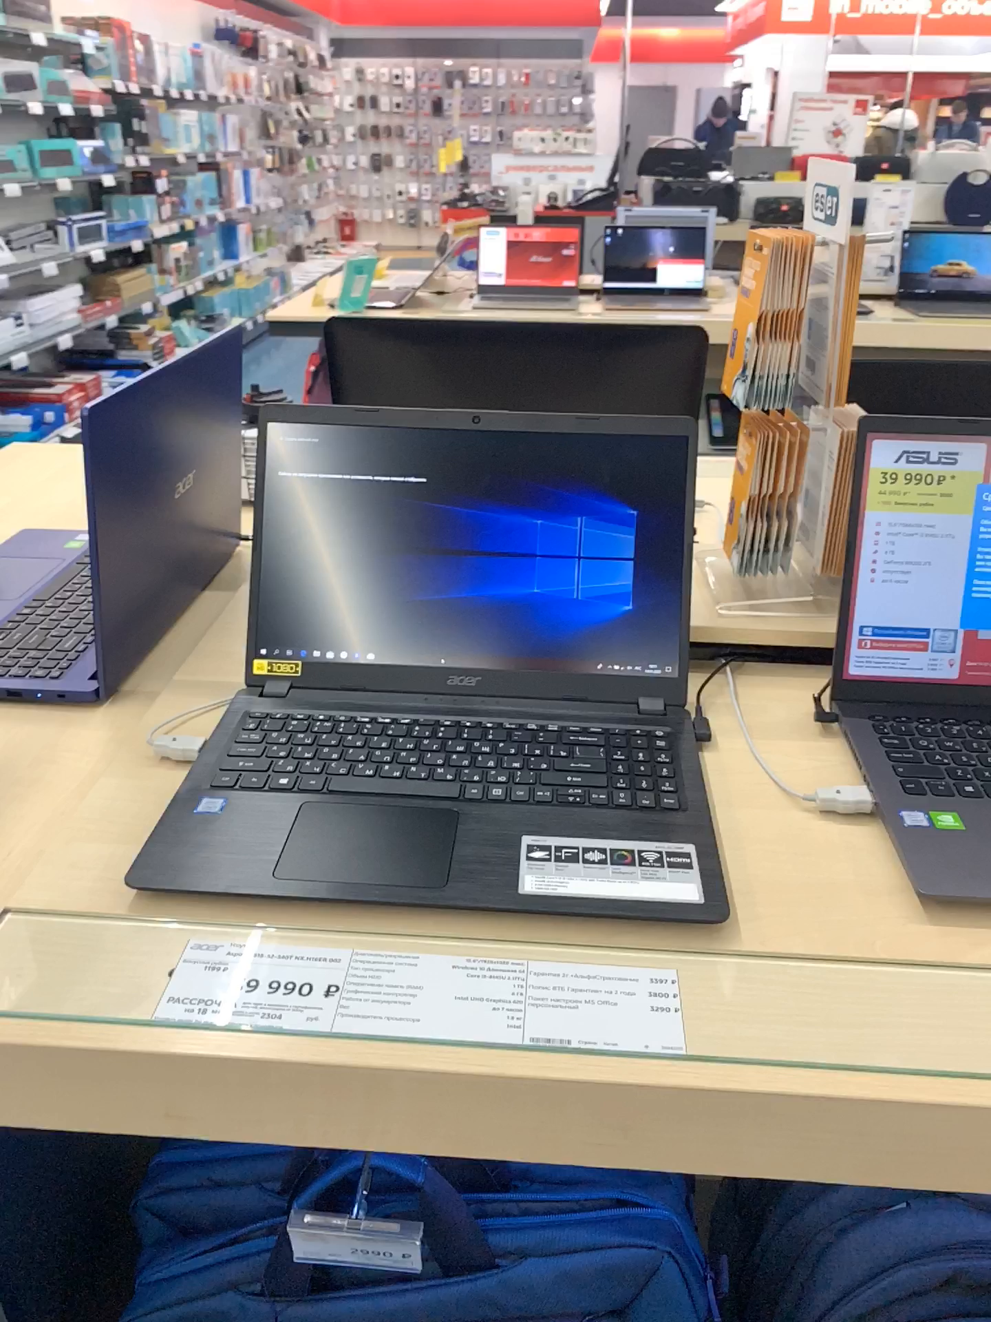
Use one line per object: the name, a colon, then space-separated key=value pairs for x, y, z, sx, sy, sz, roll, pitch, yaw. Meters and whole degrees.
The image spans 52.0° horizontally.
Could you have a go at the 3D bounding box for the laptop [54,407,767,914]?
laptop: x=-0.033 y=-0.031 z=0.751 sx=0.376 sy=0.216 sz=0.377 roll=2 pitch=27 yaw=2
